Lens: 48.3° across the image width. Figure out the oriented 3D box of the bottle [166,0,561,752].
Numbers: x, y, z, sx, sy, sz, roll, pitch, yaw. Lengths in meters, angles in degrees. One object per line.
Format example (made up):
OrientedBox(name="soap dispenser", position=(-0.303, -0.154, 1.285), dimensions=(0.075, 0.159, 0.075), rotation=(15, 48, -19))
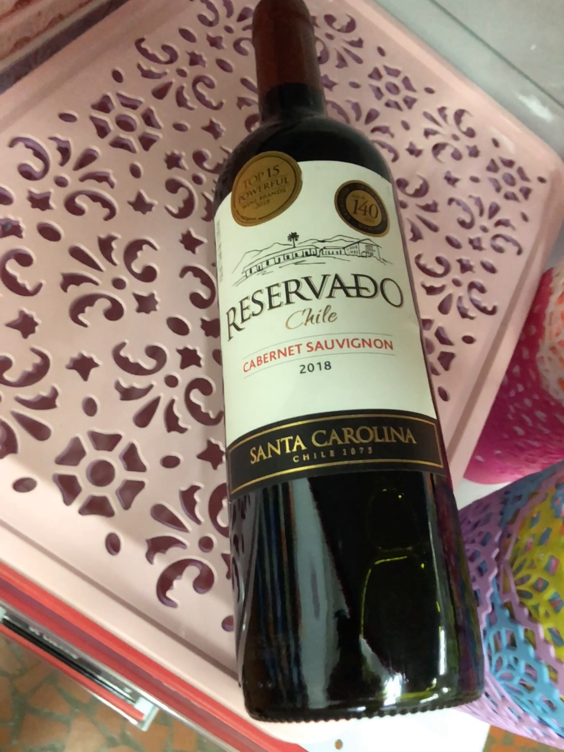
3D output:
OrientedBox(name="bottle", position=(0.004, -0.056, 0.237), dimensions=(0.080, 0.060, 0.331), rotation=(4, 62, -19))
